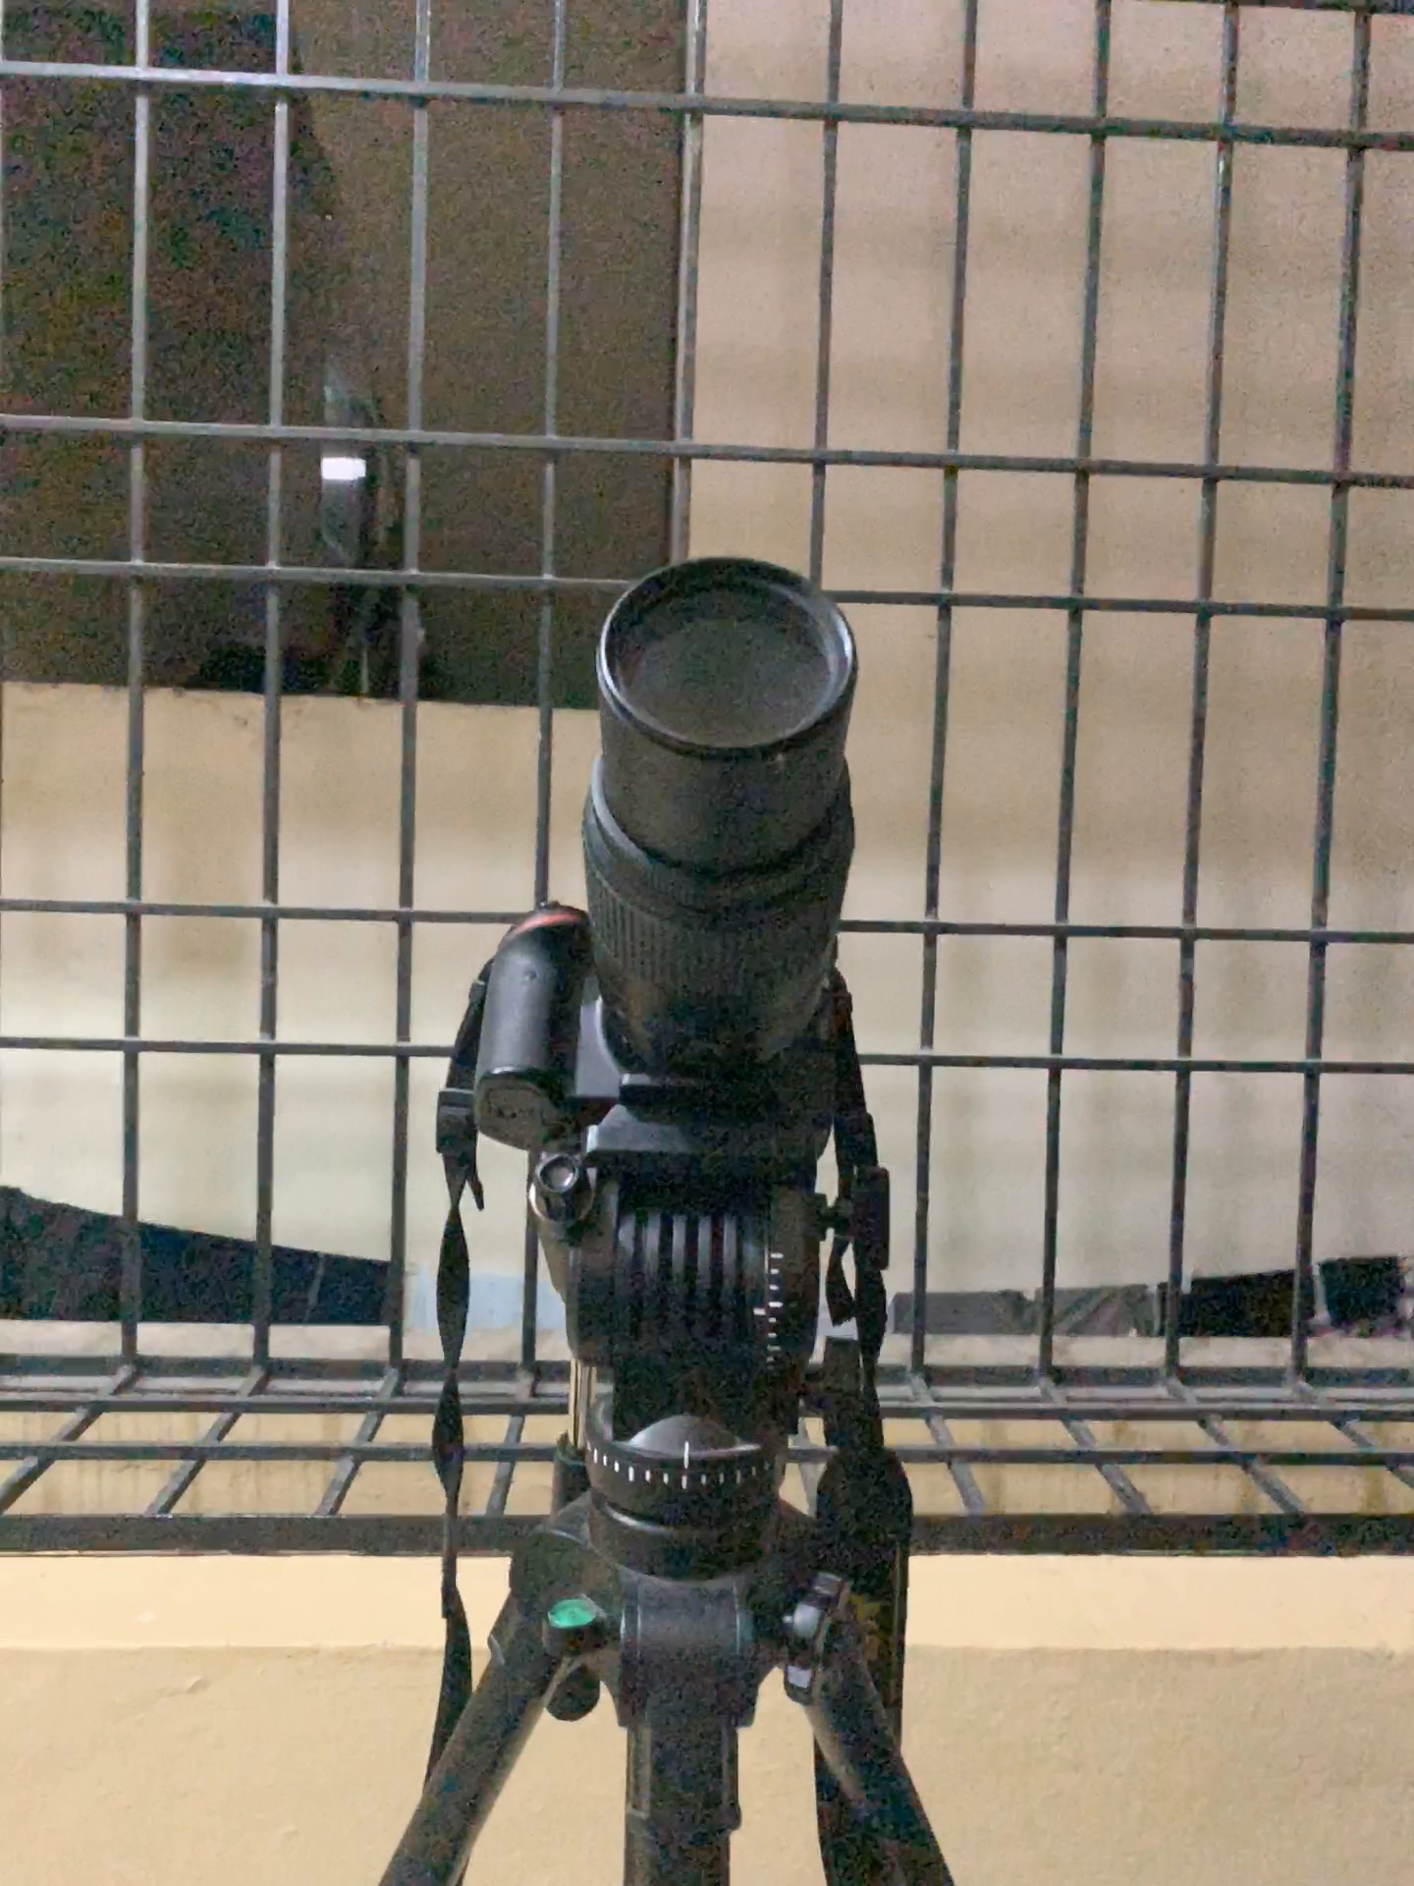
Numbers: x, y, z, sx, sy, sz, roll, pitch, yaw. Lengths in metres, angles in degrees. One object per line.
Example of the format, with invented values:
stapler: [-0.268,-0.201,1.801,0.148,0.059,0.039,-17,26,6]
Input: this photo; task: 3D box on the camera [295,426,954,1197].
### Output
camera: [-0.017,-0.023,0.414,0.136,0.101,0.209,2,-37,0]
